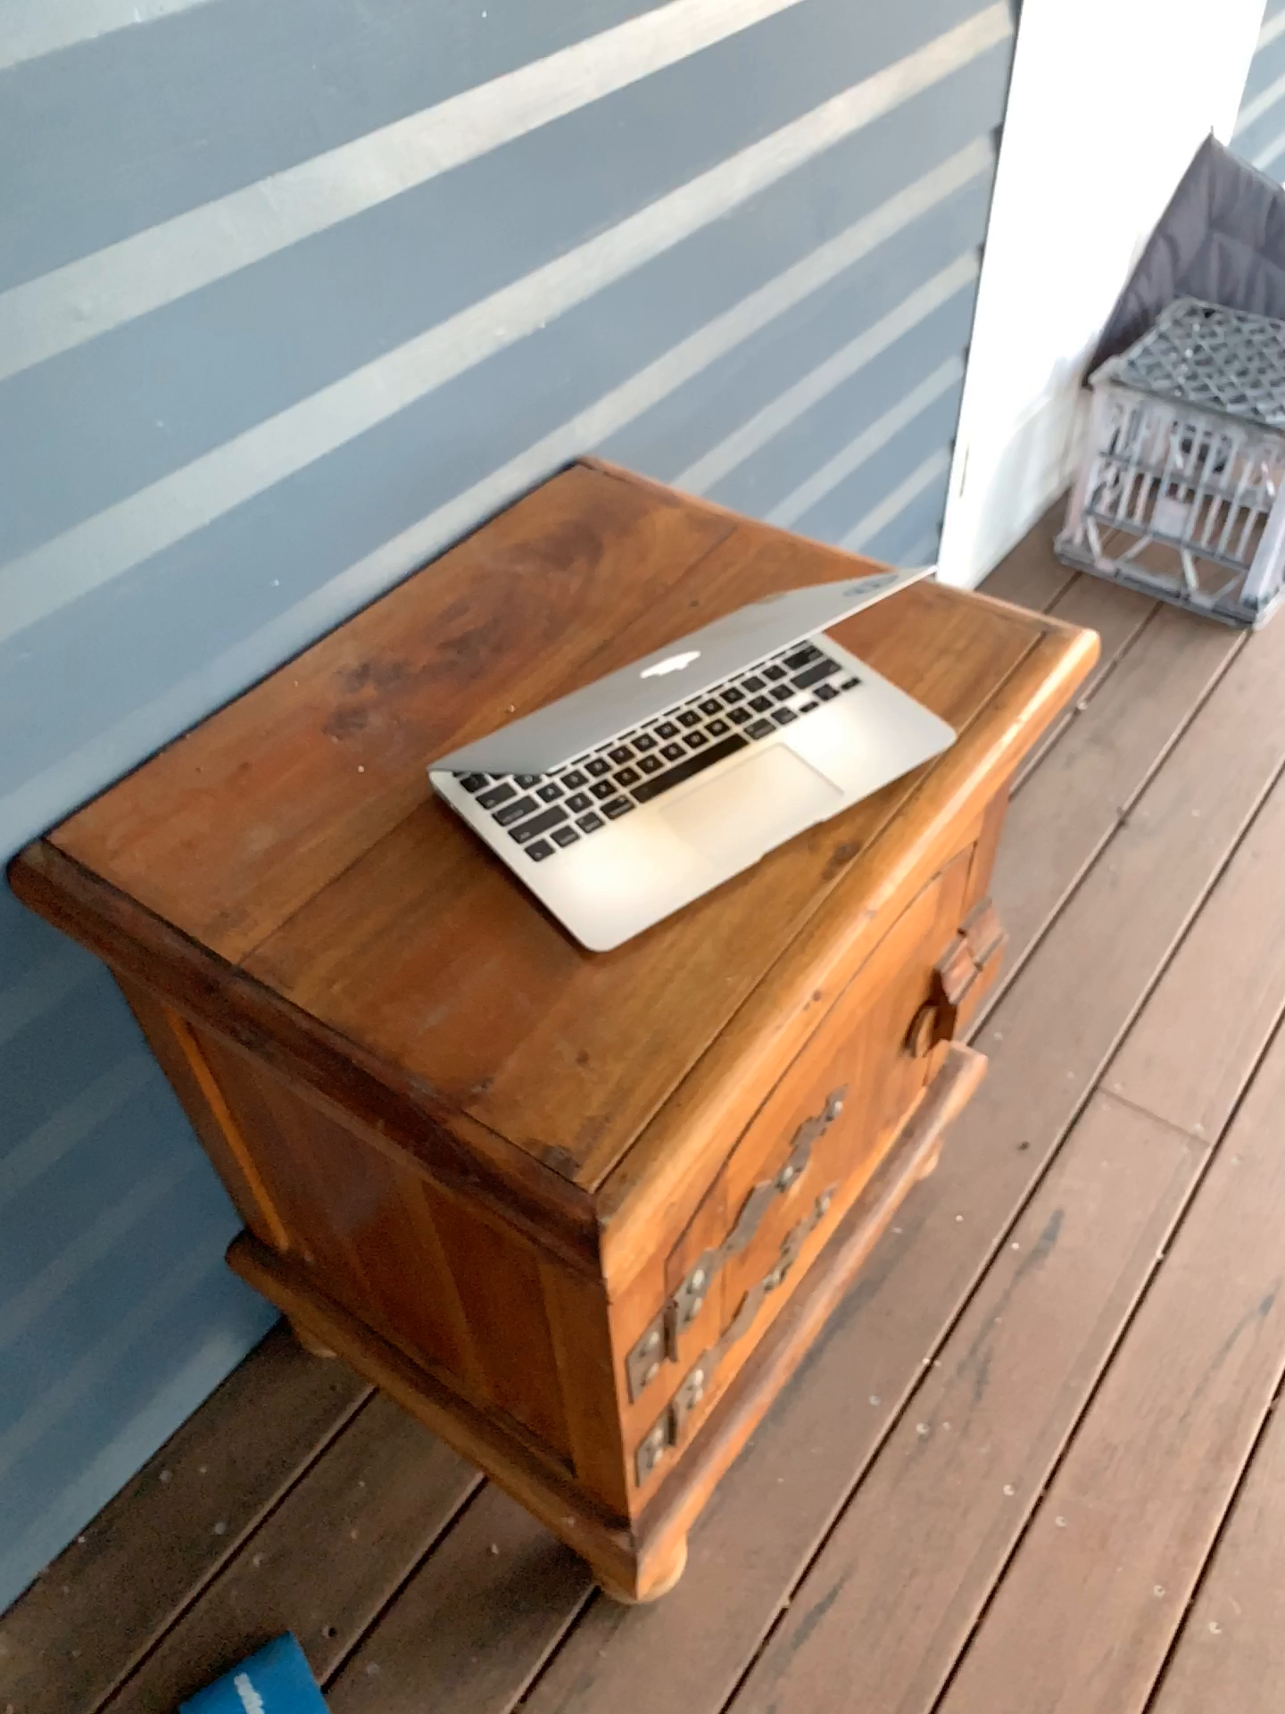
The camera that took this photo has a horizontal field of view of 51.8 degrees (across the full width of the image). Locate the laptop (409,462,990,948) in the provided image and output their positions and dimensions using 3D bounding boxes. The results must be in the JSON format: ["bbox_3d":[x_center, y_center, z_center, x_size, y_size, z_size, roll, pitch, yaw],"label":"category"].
[{"bbox_3d":[0.035,-0.103,0.792,0.282,0.099,0.180,-30,54,-22],"label":"laptop"}]
